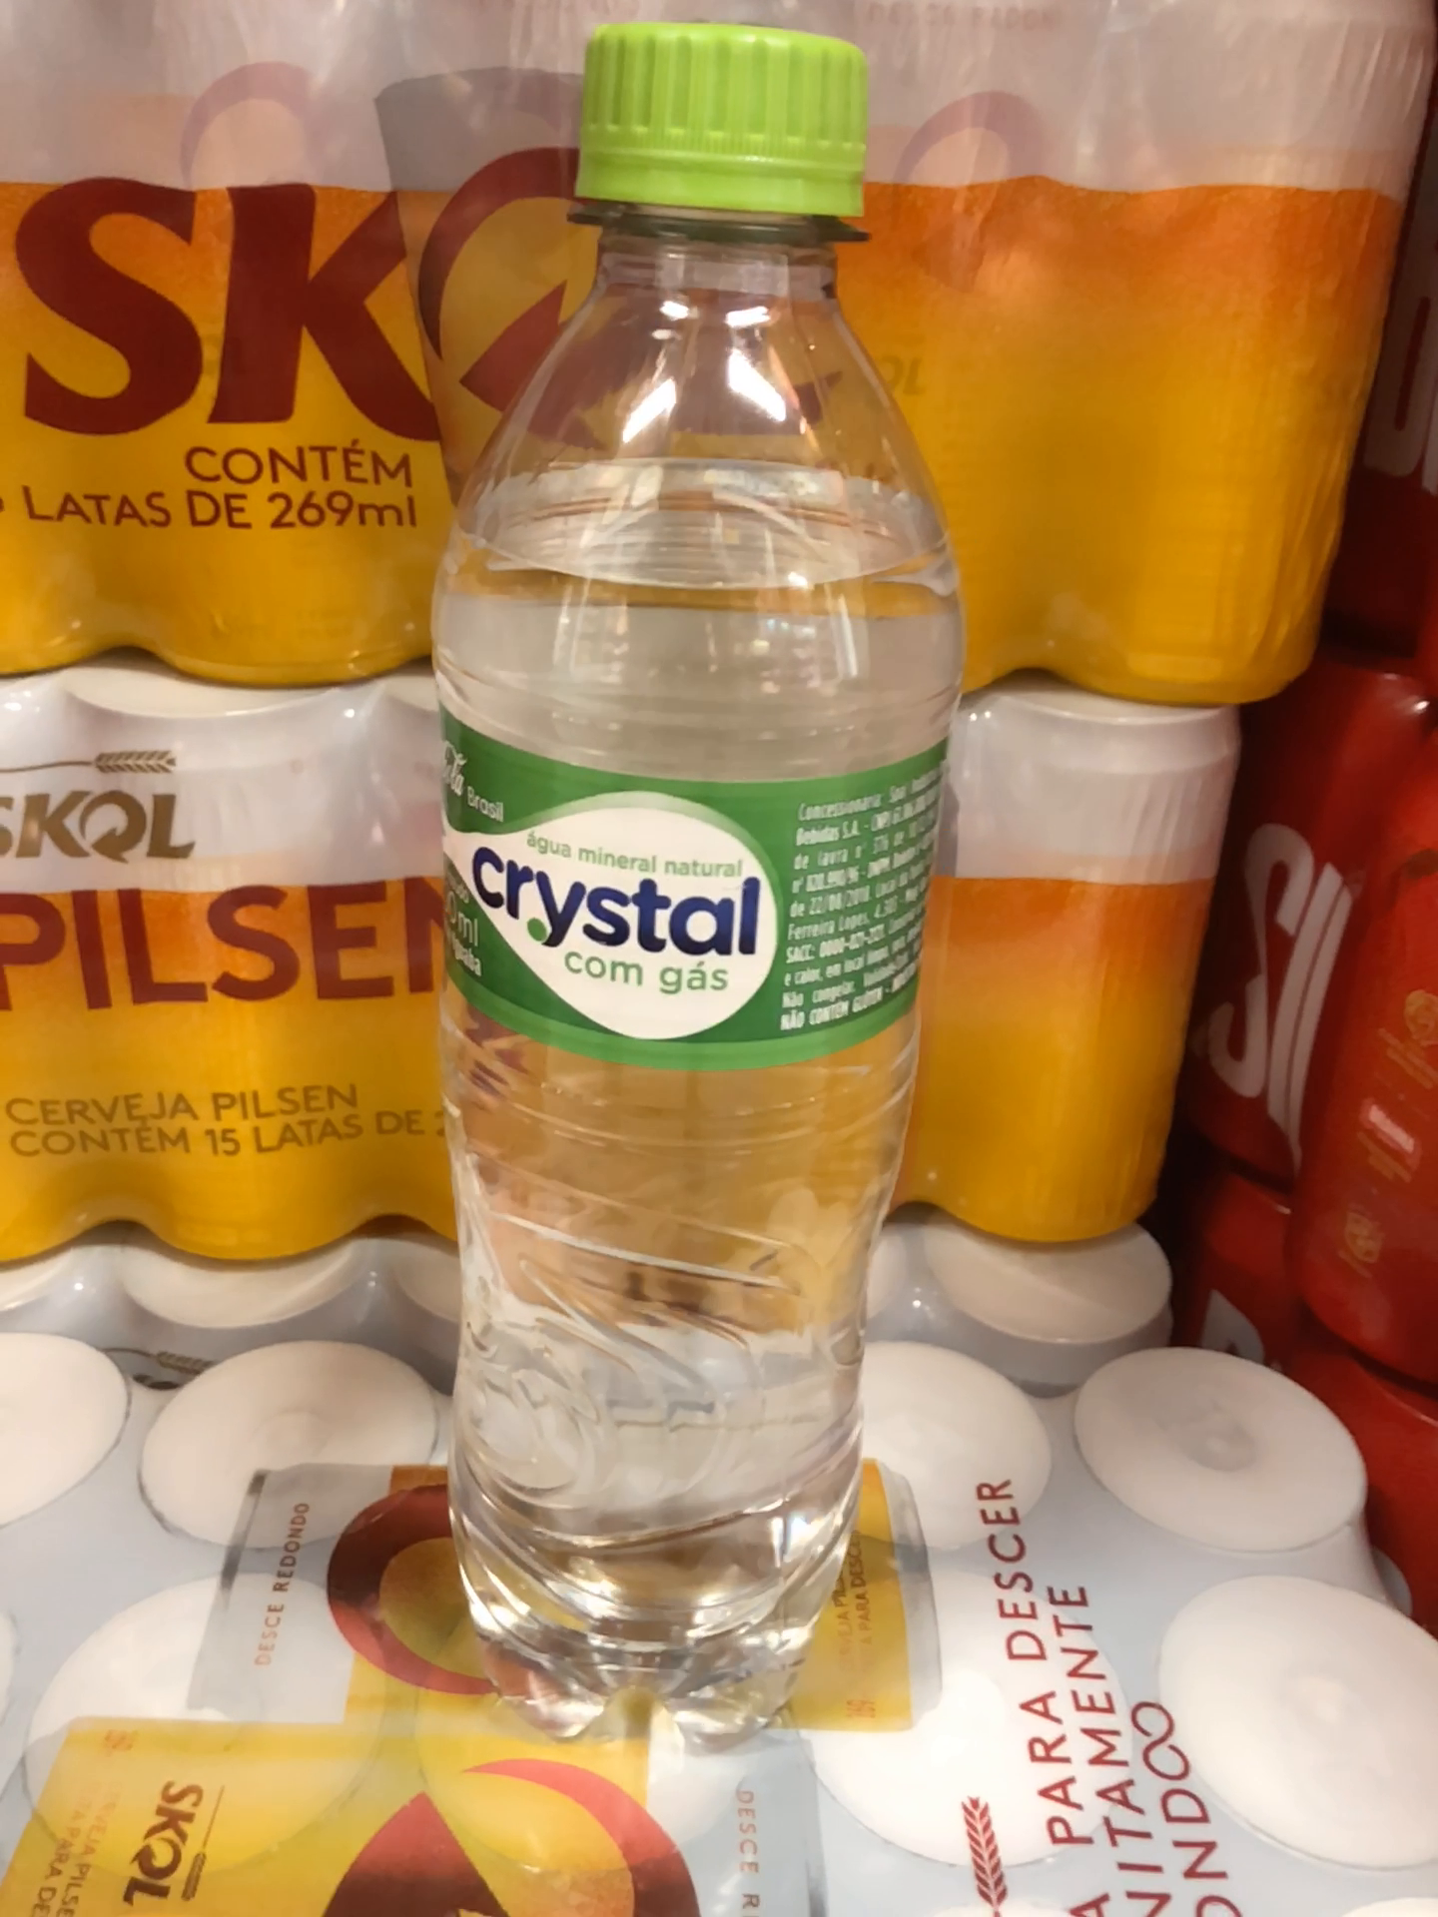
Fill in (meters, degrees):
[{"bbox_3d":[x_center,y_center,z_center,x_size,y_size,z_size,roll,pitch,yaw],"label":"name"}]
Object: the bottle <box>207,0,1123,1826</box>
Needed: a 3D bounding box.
[{"bbox_3d":[-0.003,0.005,0.204,0.070,0.218,0.060,10,30,15],"label":"bottle"}]
